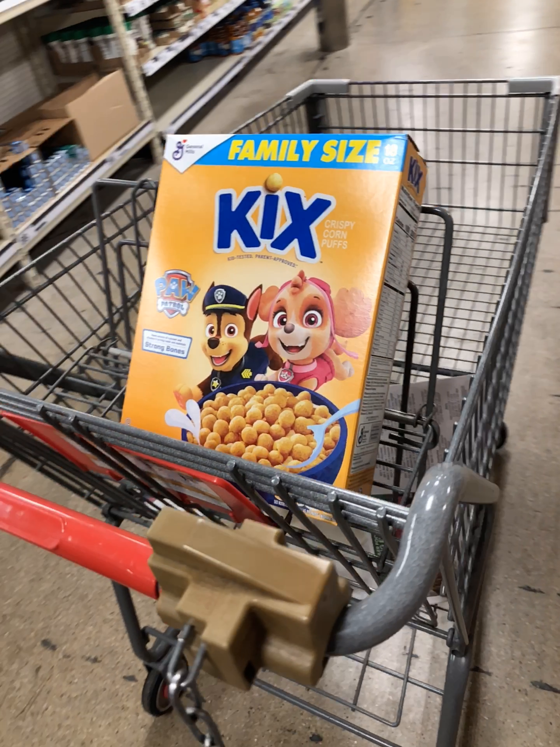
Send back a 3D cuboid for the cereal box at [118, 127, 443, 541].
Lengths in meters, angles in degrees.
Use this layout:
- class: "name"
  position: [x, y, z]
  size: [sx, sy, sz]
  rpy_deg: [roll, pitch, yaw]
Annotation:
- class: "cereal box"
  position: [-0.009, -0.049, 0.589]
  size: [0.250, 0.330, 0.090]
  rpy_deg: [12, 5, 30]
